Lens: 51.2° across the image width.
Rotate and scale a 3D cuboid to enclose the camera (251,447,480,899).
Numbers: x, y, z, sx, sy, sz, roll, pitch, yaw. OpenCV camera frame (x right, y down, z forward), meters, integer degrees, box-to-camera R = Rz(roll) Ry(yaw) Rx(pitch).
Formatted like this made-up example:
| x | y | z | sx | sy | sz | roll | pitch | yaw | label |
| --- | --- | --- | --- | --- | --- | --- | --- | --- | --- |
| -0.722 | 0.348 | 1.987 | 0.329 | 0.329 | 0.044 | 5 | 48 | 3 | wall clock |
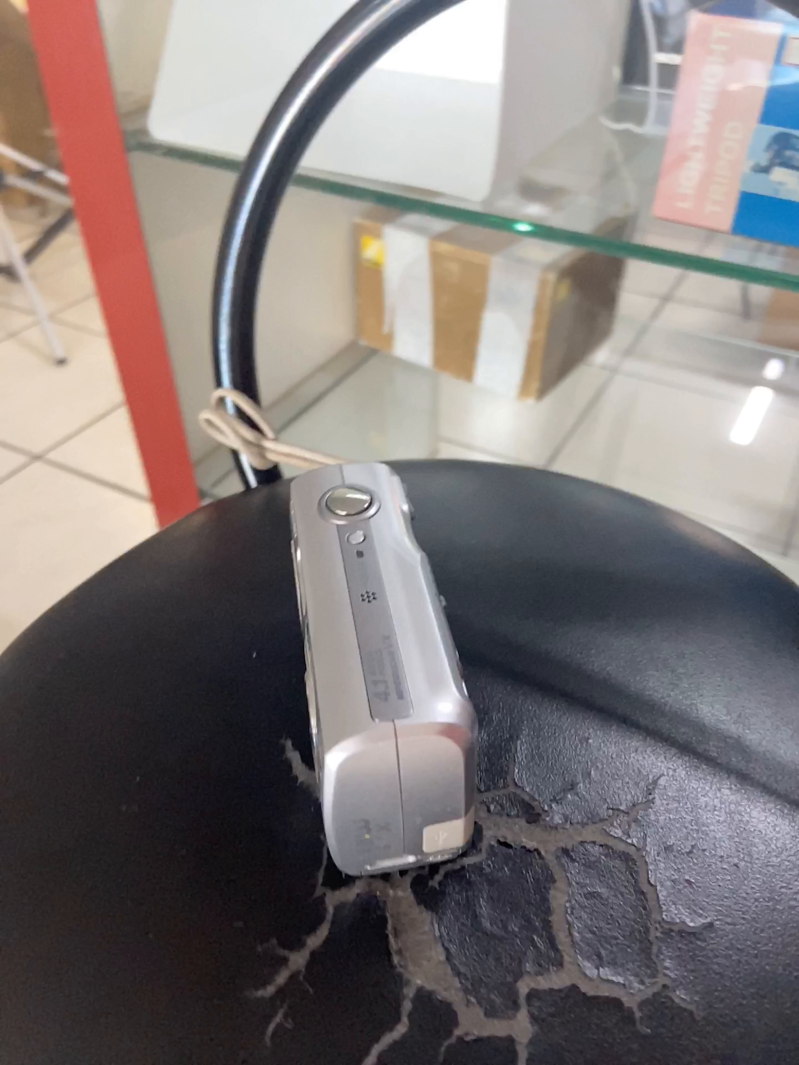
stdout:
| x | y | z | sx | sy | sz | roll | pitch | yaw | label |
| --- | --- | --- | --- | --- | --- | --- | --- | --- | --- |
| -0.013 | 0.029 | 0.211 | 0.040 | 0.050 | 0.101 | -6 | 40 | -8 | camera |
